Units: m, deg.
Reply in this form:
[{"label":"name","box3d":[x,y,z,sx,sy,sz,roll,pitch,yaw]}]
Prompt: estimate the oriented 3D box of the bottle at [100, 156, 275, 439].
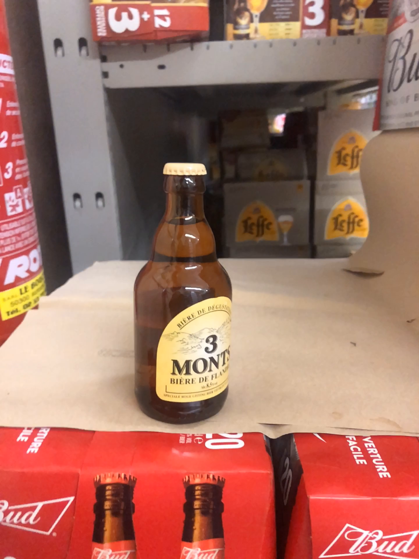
[{"label":"bottle","box3d":[-0.014,0.003,0.319,0.080,0.166,0.080,-1,16,0]}]
